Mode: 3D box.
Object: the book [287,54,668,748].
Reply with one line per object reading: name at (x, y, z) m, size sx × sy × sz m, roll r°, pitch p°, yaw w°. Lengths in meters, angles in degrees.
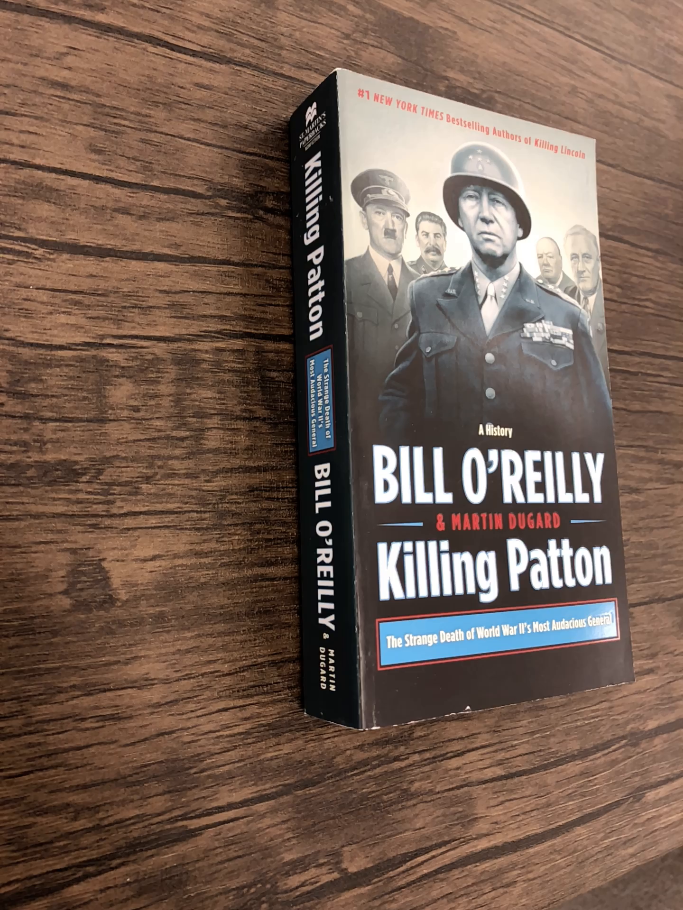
book at (0.041, -0.015, 0.238) m, size 0.106 × 0.040 × 0.182 m, roll 2°, pitch 83°, yaw -26°
